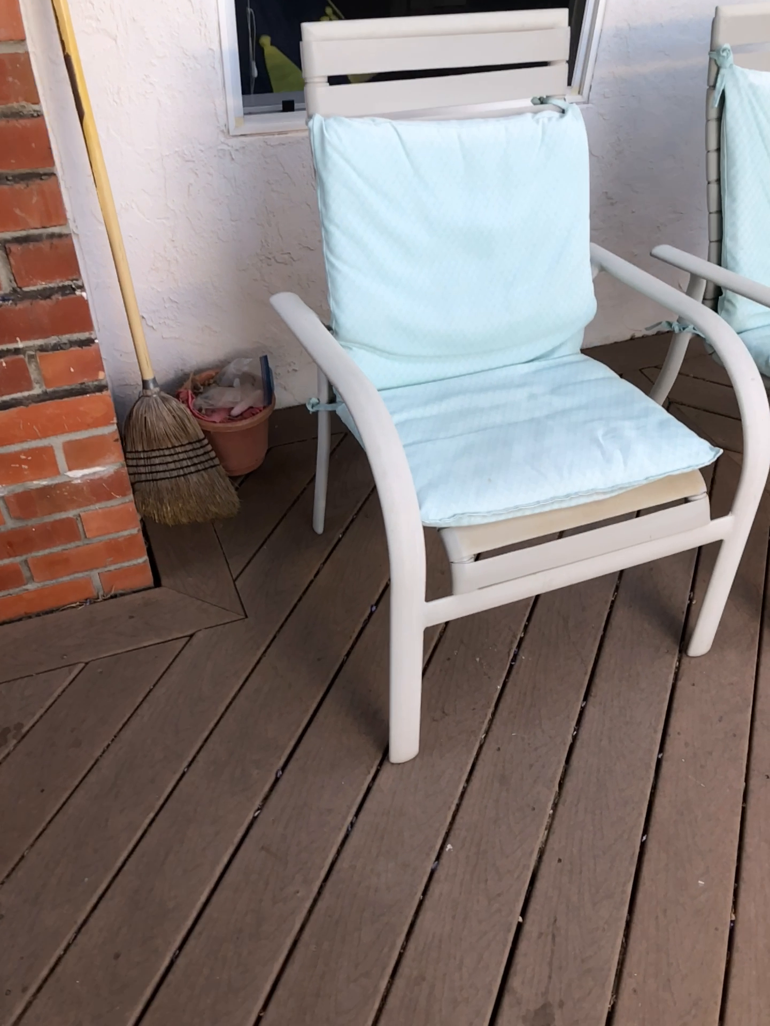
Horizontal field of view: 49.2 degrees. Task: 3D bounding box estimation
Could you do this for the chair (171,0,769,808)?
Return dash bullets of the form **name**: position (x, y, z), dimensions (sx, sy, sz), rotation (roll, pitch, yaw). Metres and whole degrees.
- **chair**: position (0.154, -0.262, 1.542), dimensions (0.741, 0.994, 0.974), rotation (-15, 46, -19)
